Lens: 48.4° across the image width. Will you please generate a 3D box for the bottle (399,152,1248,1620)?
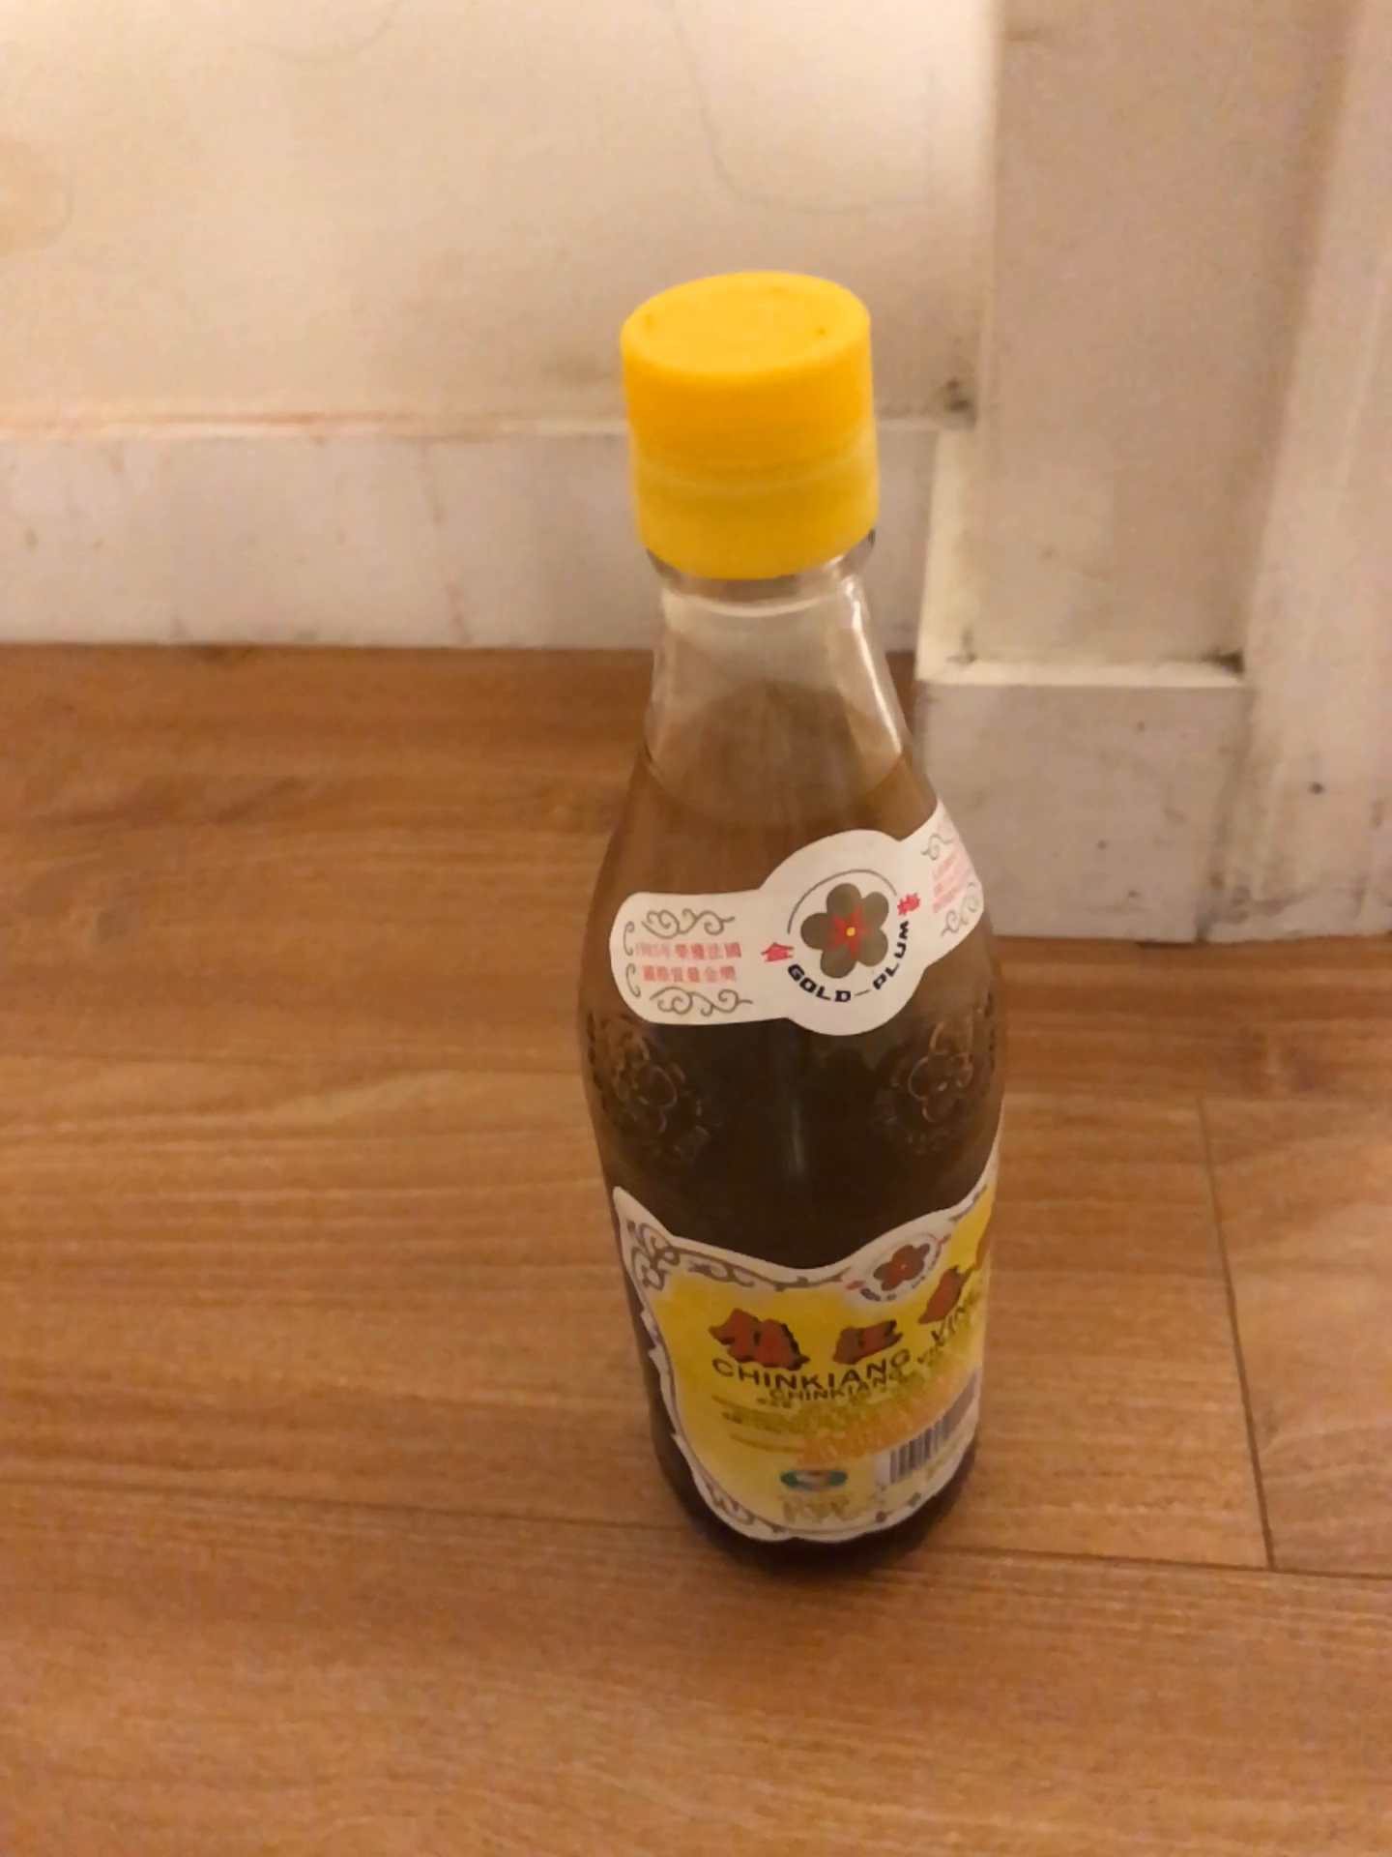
[{"bbox_3d":[0.019,0.014,0.248,0.070,0.228,0.070,-3,42,3],"label":"bottle"}]
